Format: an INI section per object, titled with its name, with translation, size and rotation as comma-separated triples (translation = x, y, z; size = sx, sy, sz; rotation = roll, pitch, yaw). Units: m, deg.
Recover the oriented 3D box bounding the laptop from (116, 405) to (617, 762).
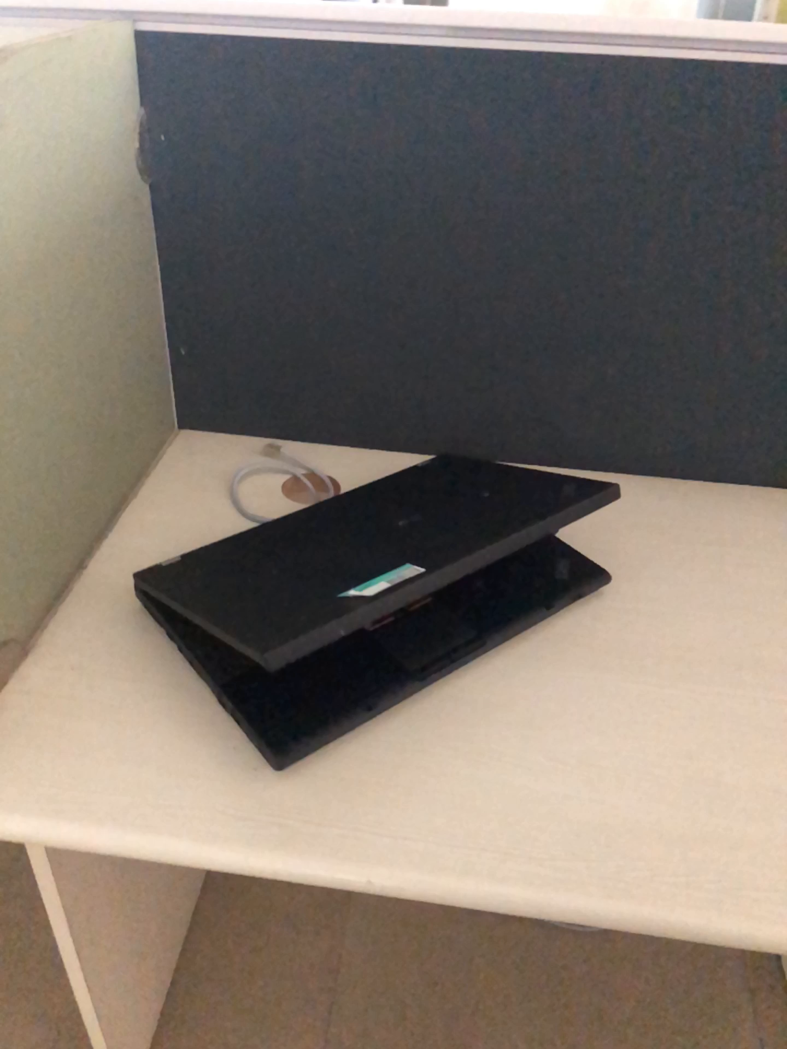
[laptop]
translation = -0.017, 0.021, 0.763
size = 0.364, 0.077, 0.235
rotation = -23, 43, -33
